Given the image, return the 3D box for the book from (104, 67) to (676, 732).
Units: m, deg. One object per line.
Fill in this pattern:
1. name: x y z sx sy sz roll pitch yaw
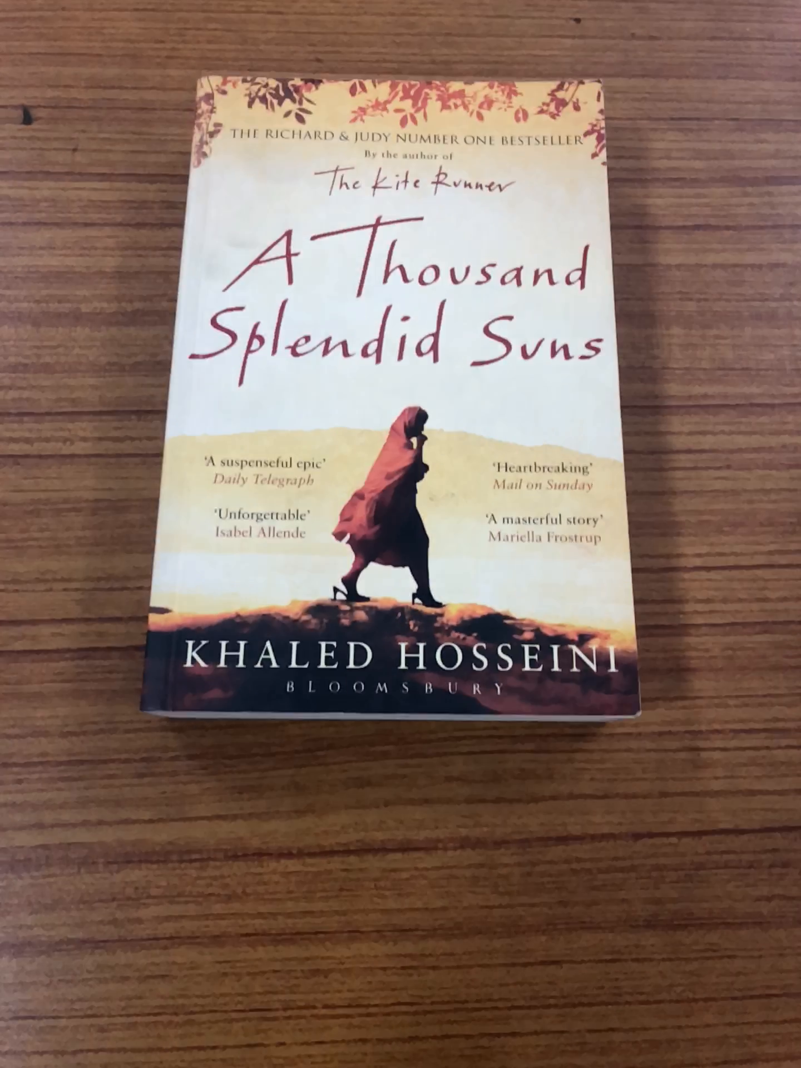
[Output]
1. book: -0.002 -0.041 0.258 0.140 0.030 0.190 1 75 -2
